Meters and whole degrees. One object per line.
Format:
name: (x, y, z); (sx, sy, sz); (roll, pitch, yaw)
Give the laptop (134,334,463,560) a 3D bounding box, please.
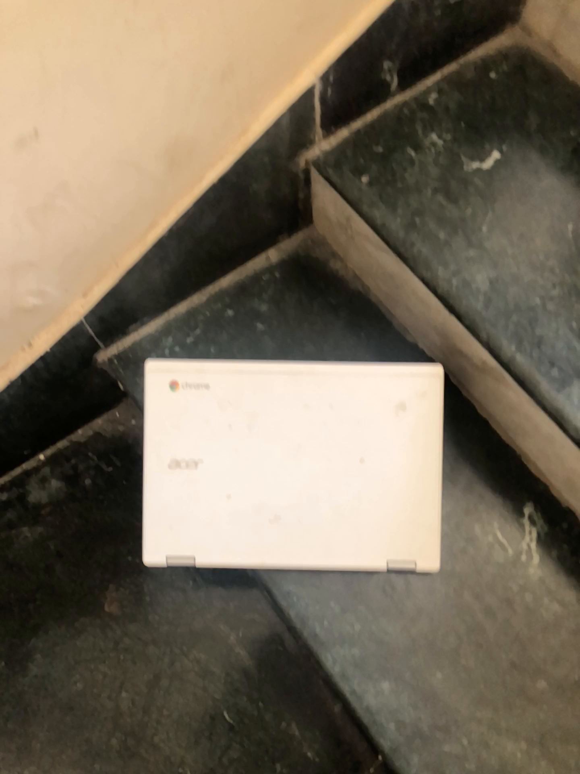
laptop: (0.006, 0.060, 0.616); (0.282, 0.091, 0.190); (1, 71, 0)
